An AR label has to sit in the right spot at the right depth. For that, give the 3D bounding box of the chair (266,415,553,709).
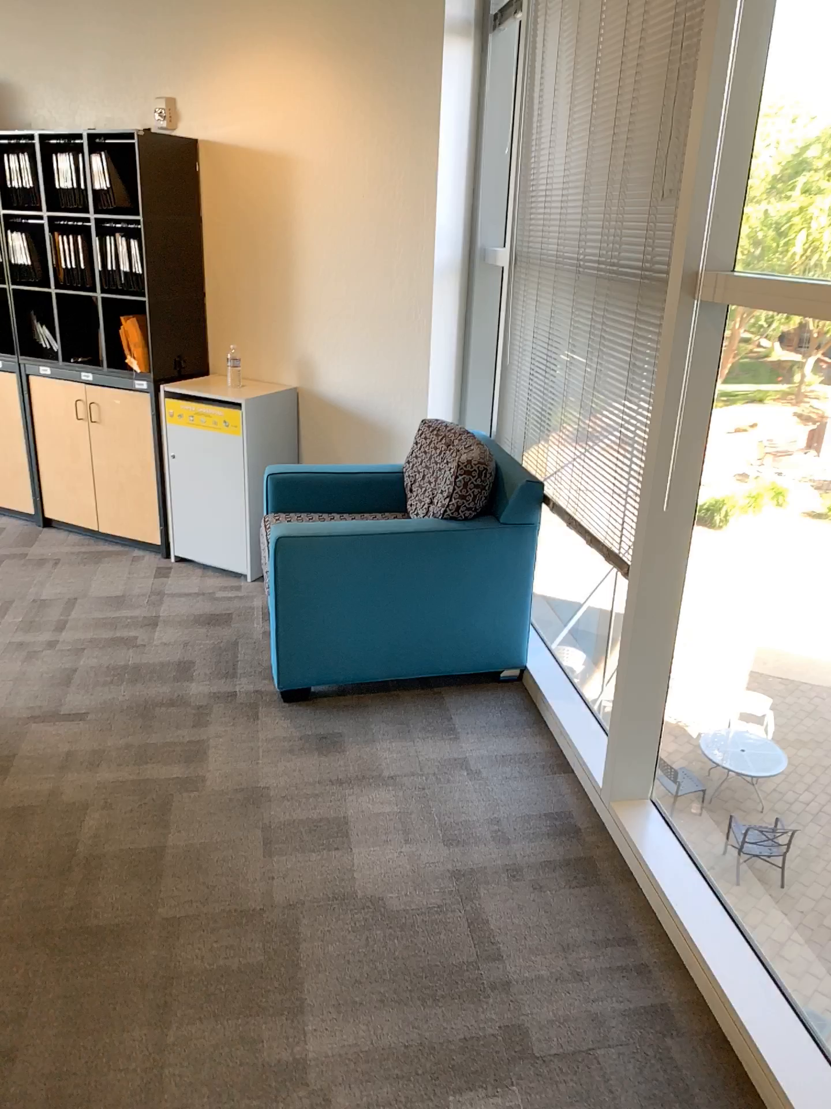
[{"bbox_3d":[-0.097,-0.030,3.265,0.919,0.826,0.915,-1,20,-10],"label":"chair"}]
